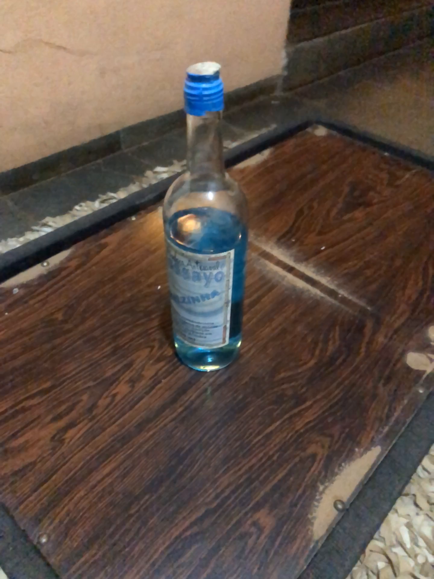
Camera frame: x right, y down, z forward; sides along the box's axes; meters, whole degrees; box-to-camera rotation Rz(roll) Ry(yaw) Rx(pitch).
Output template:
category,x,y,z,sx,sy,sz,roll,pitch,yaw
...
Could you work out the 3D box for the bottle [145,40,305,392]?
category,x,y,z,sx,sy,sz,roll,pitch,yaw
bottle,-0.001,-0.045,0.430,0.080,0.298,0.081,2,42,-2
